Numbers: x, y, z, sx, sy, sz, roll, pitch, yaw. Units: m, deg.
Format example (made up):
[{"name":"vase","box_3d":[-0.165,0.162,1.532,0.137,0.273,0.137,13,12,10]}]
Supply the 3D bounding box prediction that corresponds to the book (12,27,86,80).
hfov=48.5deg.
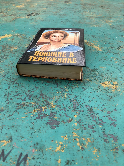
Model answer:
[{"name":"book","box_3d":[-0.014,-0.088,0.344,0.138,0.032,0.209,4,40,5]}]
